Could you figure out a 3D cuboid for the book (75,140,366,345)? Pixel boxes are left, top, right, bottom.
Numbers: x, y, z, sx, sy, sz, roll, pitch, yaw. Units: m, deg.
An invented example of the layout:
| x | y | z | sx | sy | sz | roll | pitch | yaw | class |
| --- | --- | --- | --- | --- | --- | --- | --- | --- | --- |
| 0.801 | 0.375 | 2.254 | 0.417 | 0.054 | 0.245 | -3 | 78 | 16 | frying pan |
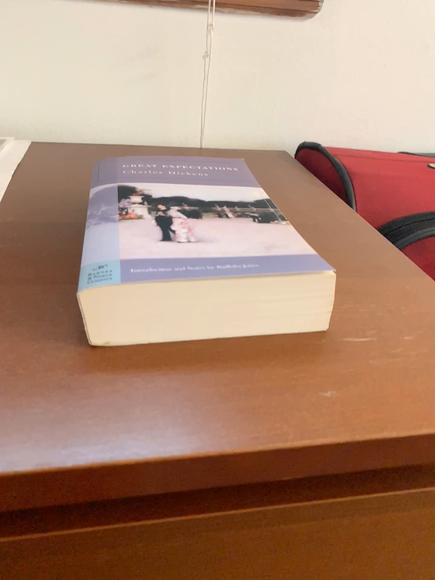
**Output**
| x | y | z | sx | sy | sz | roll | pitch | yaw | class |
| --- | --- | --- | --- | --- | --- | --- | --- | --- | --- |
| -0.016 | -0.048 | 0.301 | 0.140 | 0.040 | 0.202 | -2 | 34 | -13 | book |
